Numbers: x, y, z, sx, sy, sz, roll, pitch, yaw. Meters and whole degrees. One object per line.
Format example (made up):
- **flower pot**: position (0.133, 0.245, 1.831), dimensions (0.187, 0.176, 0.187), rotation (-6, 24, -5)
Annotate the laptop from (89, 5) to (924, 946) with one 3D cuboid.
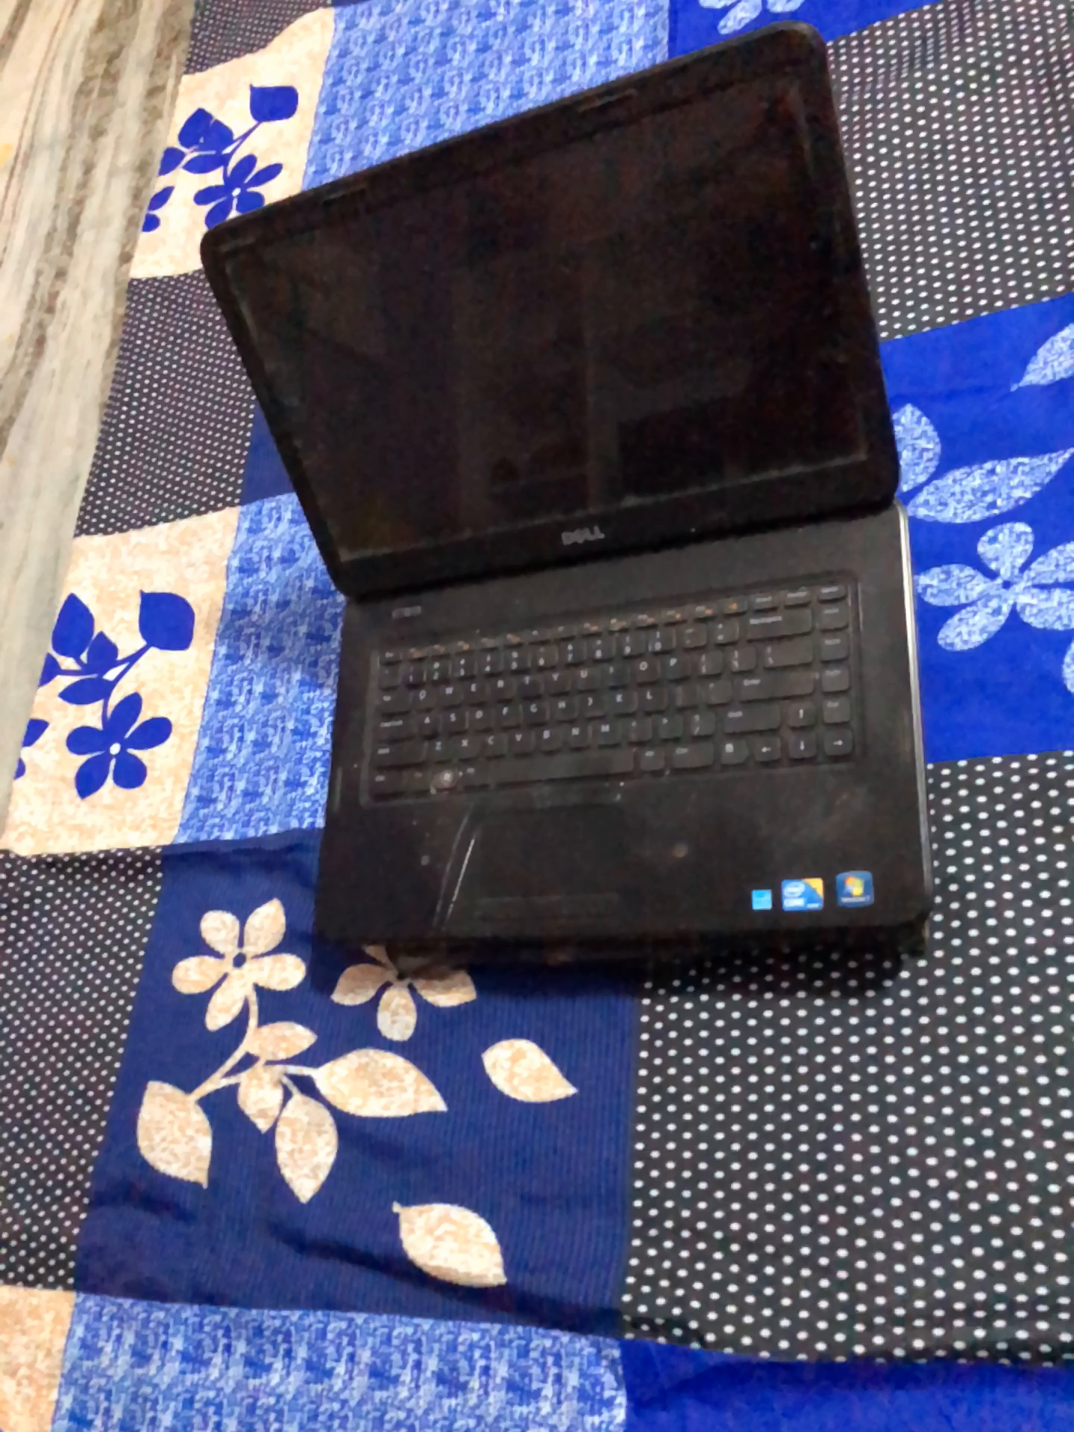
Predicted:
- **laptop**: position (-0.003, -0.100, 0.645), dimensions (0.363, 0.187, 0.390), rotation (-7, 67, 24)
